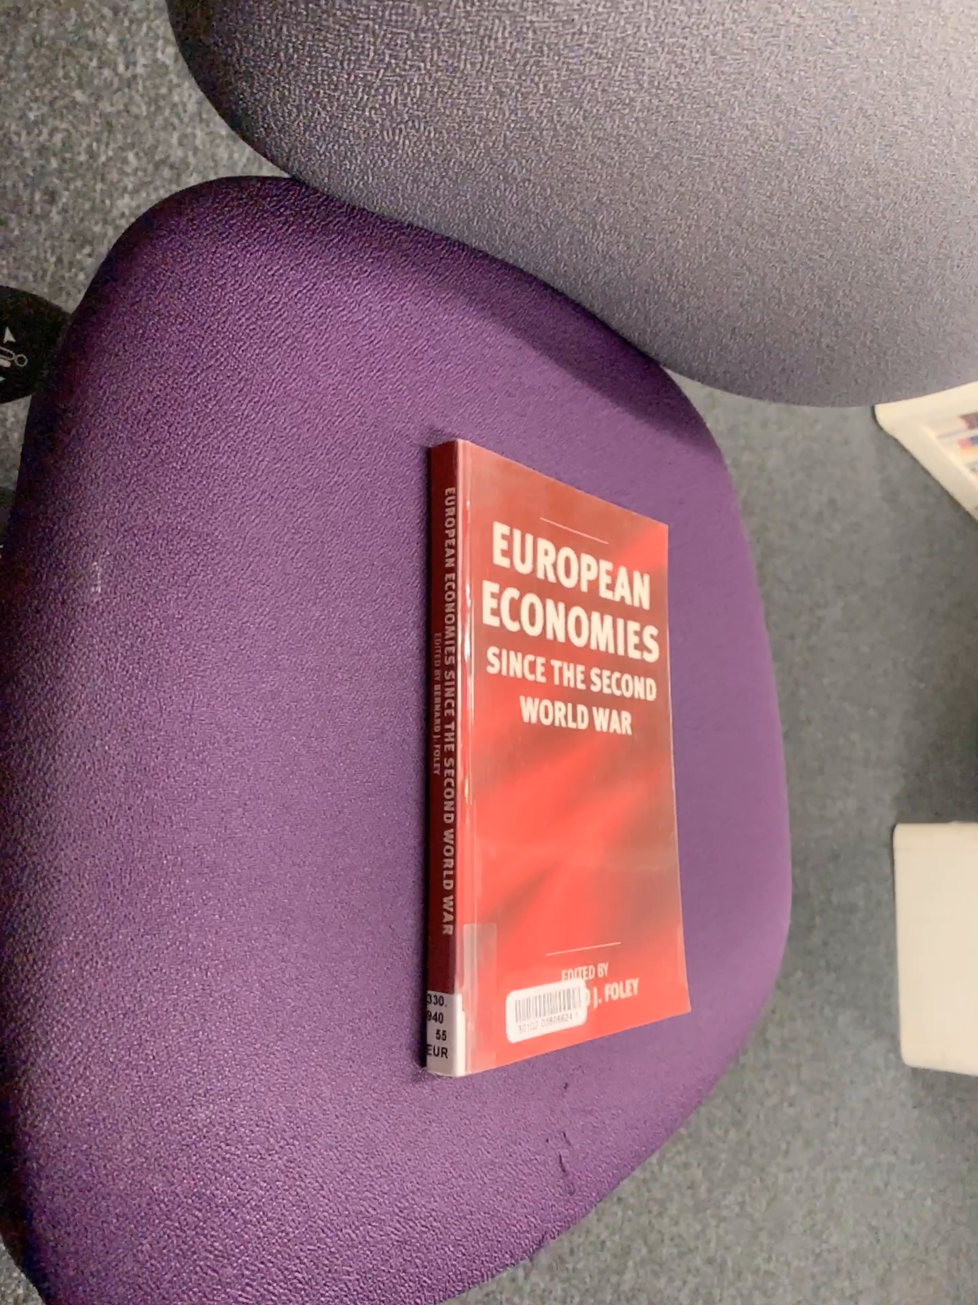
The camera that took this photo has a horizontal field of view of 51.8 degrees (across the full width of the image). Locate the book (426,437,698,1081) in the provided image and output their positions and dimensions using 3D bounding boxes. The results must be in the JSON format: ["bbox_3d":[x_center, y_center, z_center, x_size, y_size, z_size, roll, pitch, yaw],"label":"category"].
[{"bbox_3d":[0.035,0.041,0.415,0.149,0.020,0.225,10,76,-48],"label":"book"}]
